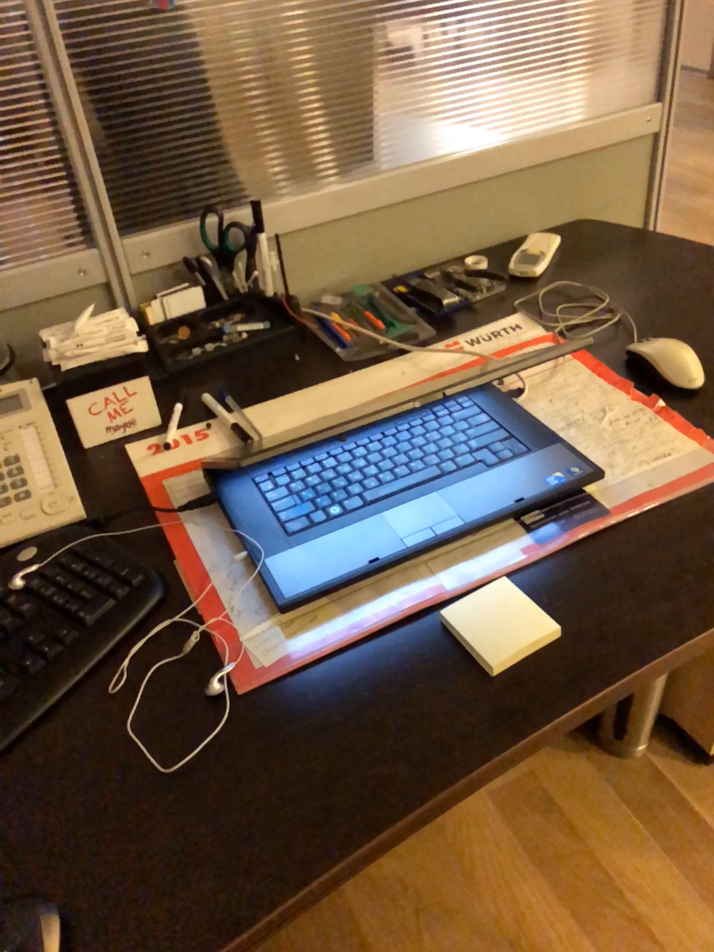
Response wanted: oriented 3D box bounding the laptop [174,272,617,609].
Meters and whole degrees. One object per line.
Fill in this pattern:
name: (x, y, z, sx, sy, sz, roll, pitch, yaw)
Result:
laptop: (0.034, -0.058, 0.800, 0.358, 0.141, 0.239, -20, 39, -18)
